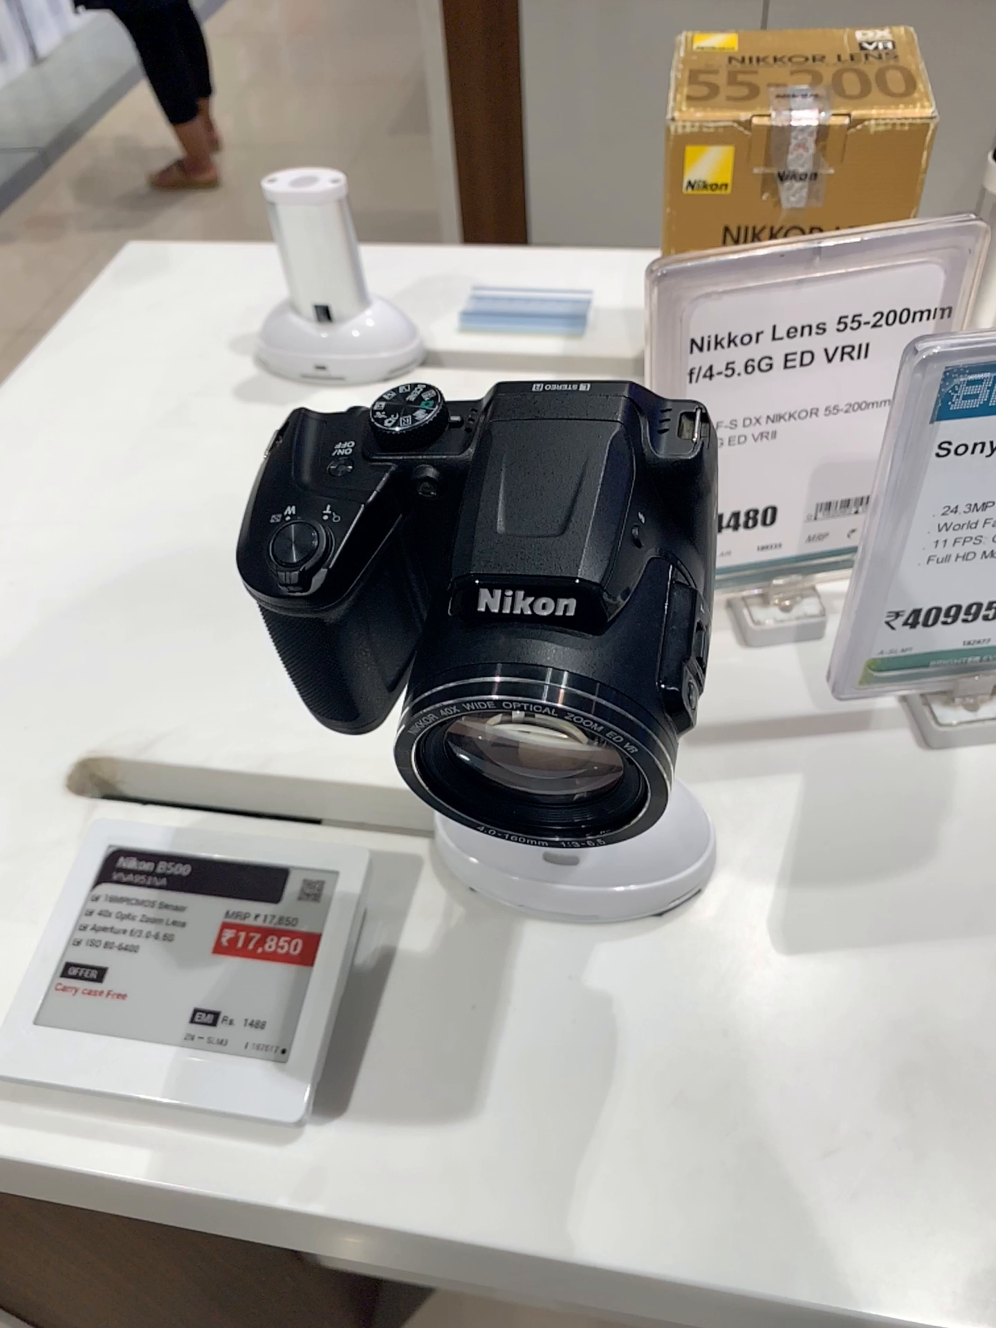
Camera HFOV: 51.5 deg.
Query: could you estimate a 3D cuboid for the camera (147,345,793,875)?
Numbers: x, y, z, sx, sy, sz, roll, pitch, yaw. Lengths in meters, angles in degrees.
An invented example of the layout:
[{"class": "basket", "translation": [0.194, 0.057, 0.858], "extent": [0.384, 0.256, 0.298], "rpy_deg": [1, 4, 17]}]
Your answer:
[{"class": "camera", "translation": [0.002, -0.014, 0.228], "extent": [0.113, 0.070, 0.084], "rpy_deg": [5, 54, 10]}]
